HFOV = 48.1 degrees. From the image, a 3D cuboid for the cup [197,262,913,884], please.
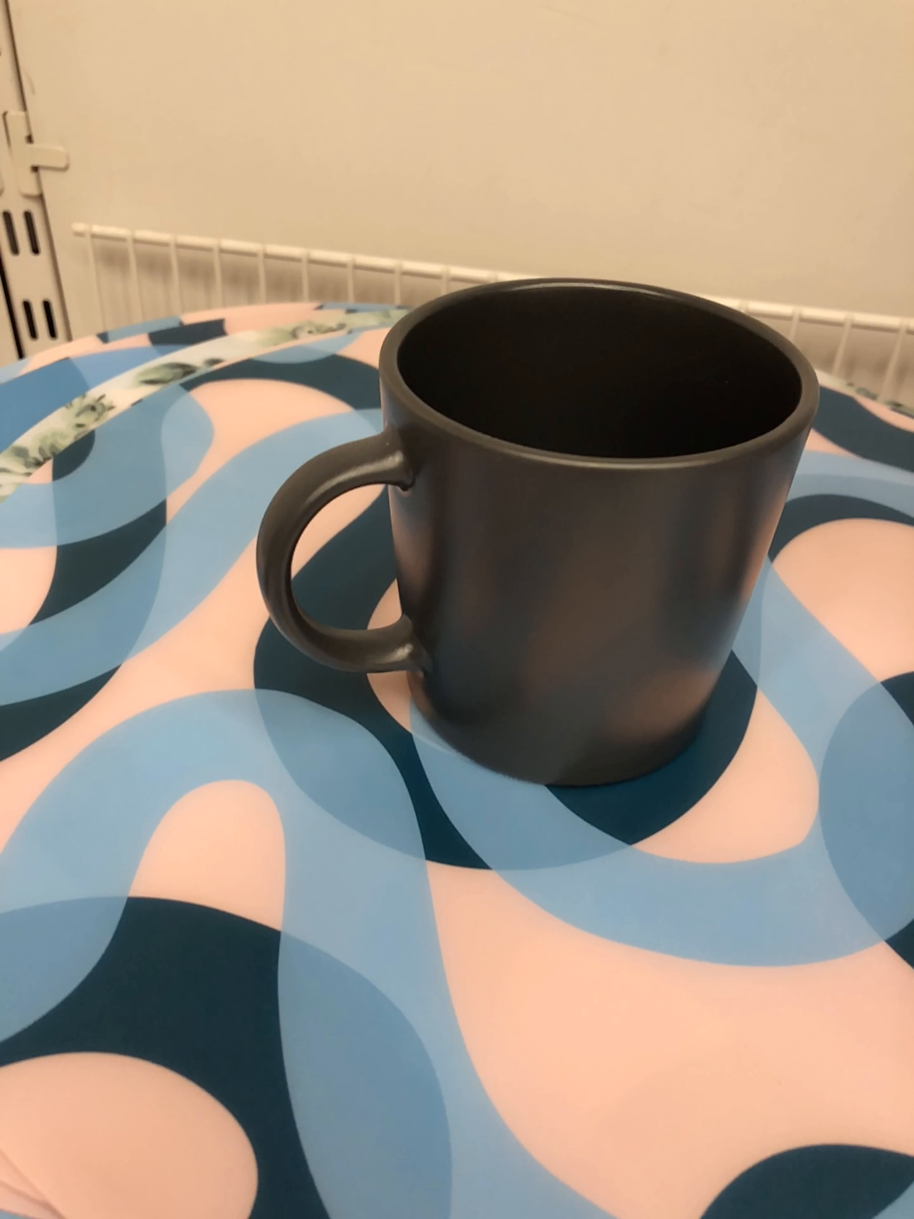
[{"bbox_3d":[0.012,-0.015,0.229,0.120,0.090,0.090,-8,37,-14],"label":"cup"}]
